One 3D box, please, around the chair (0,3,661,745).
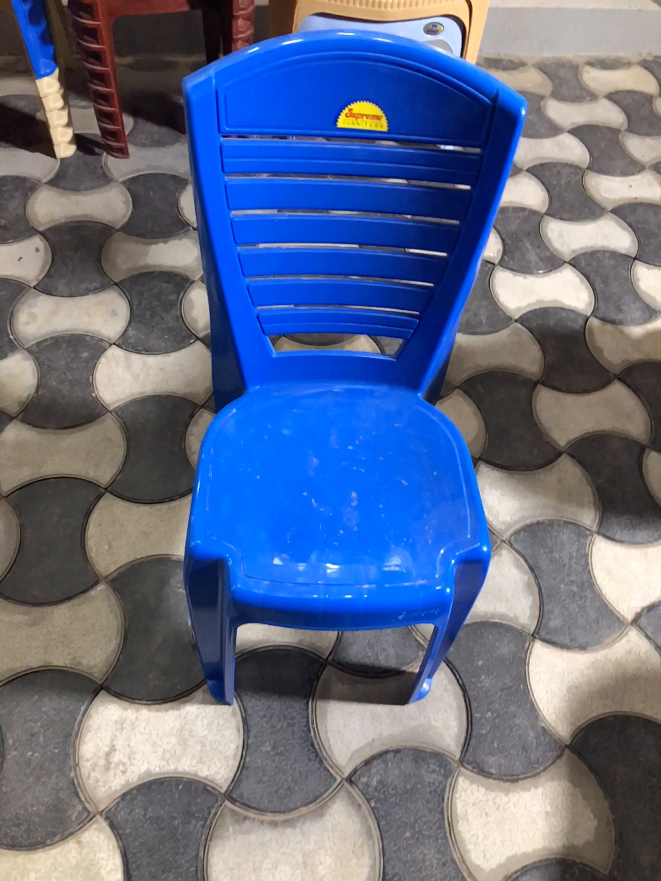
[{"bbox_3d":[0.007,-0.003,0.871,0.470,0.726,0.513,2,53,-3],"label":"chair"}]
